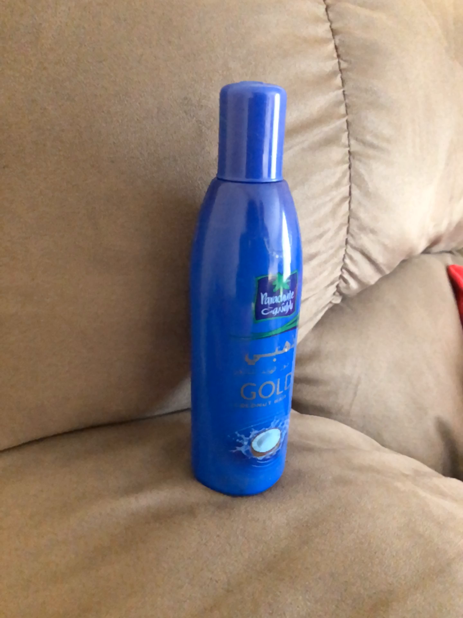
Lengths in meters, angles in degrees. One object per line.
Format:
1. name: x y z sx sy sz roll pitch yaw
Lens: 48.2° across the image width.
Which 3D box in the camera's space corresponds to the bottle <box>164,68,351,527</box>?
1. bottle: 0.006 -0.003 0.225 0.050 0.180 0.050 2 20 -1
